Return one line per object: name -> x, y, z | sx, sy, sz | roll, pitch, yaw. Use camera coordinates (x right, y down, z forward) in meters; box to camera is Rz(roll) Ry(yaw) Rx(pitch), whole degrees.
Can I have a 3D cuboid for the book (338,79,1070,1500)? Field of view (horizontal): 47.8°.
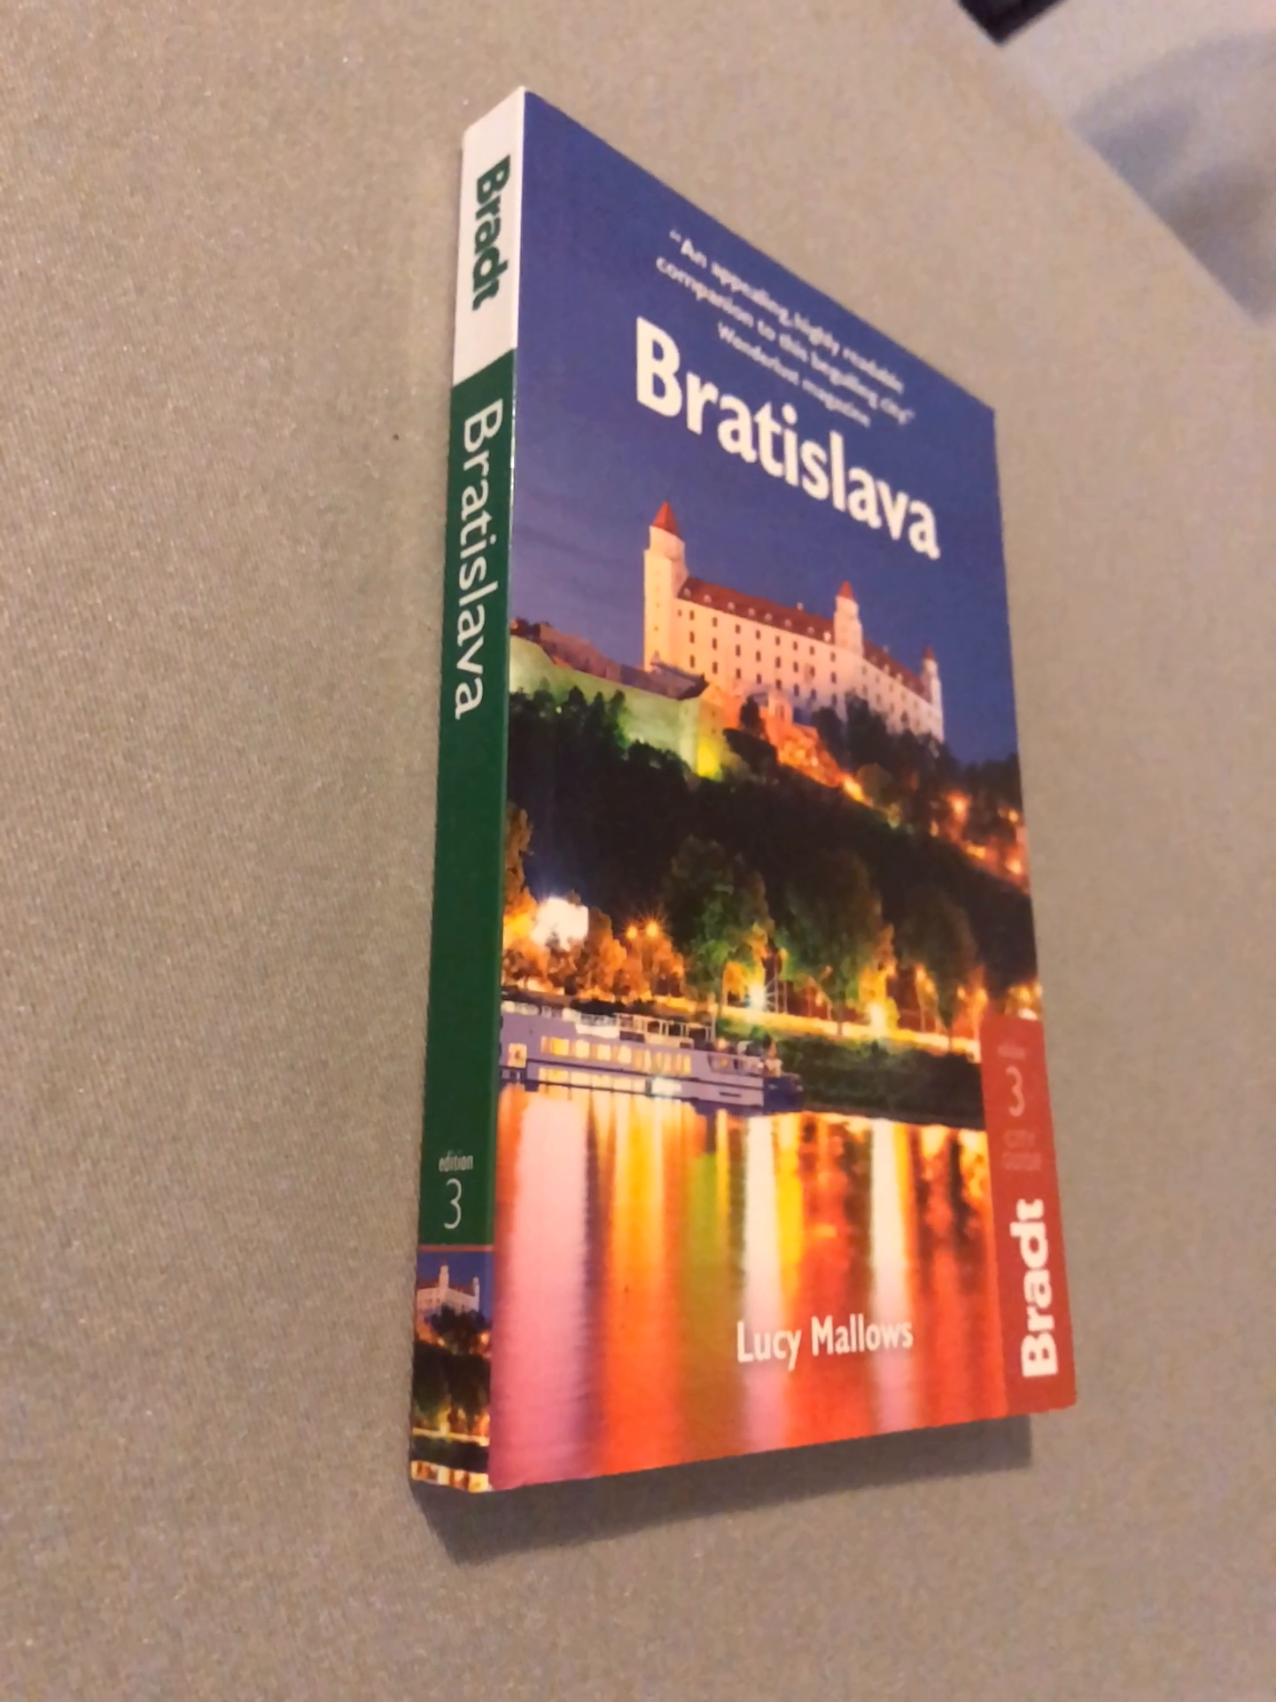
book -> 0.021, -0.008, 0.255 | 0.141, 0.020, 0.210 | 13, 71, -39
